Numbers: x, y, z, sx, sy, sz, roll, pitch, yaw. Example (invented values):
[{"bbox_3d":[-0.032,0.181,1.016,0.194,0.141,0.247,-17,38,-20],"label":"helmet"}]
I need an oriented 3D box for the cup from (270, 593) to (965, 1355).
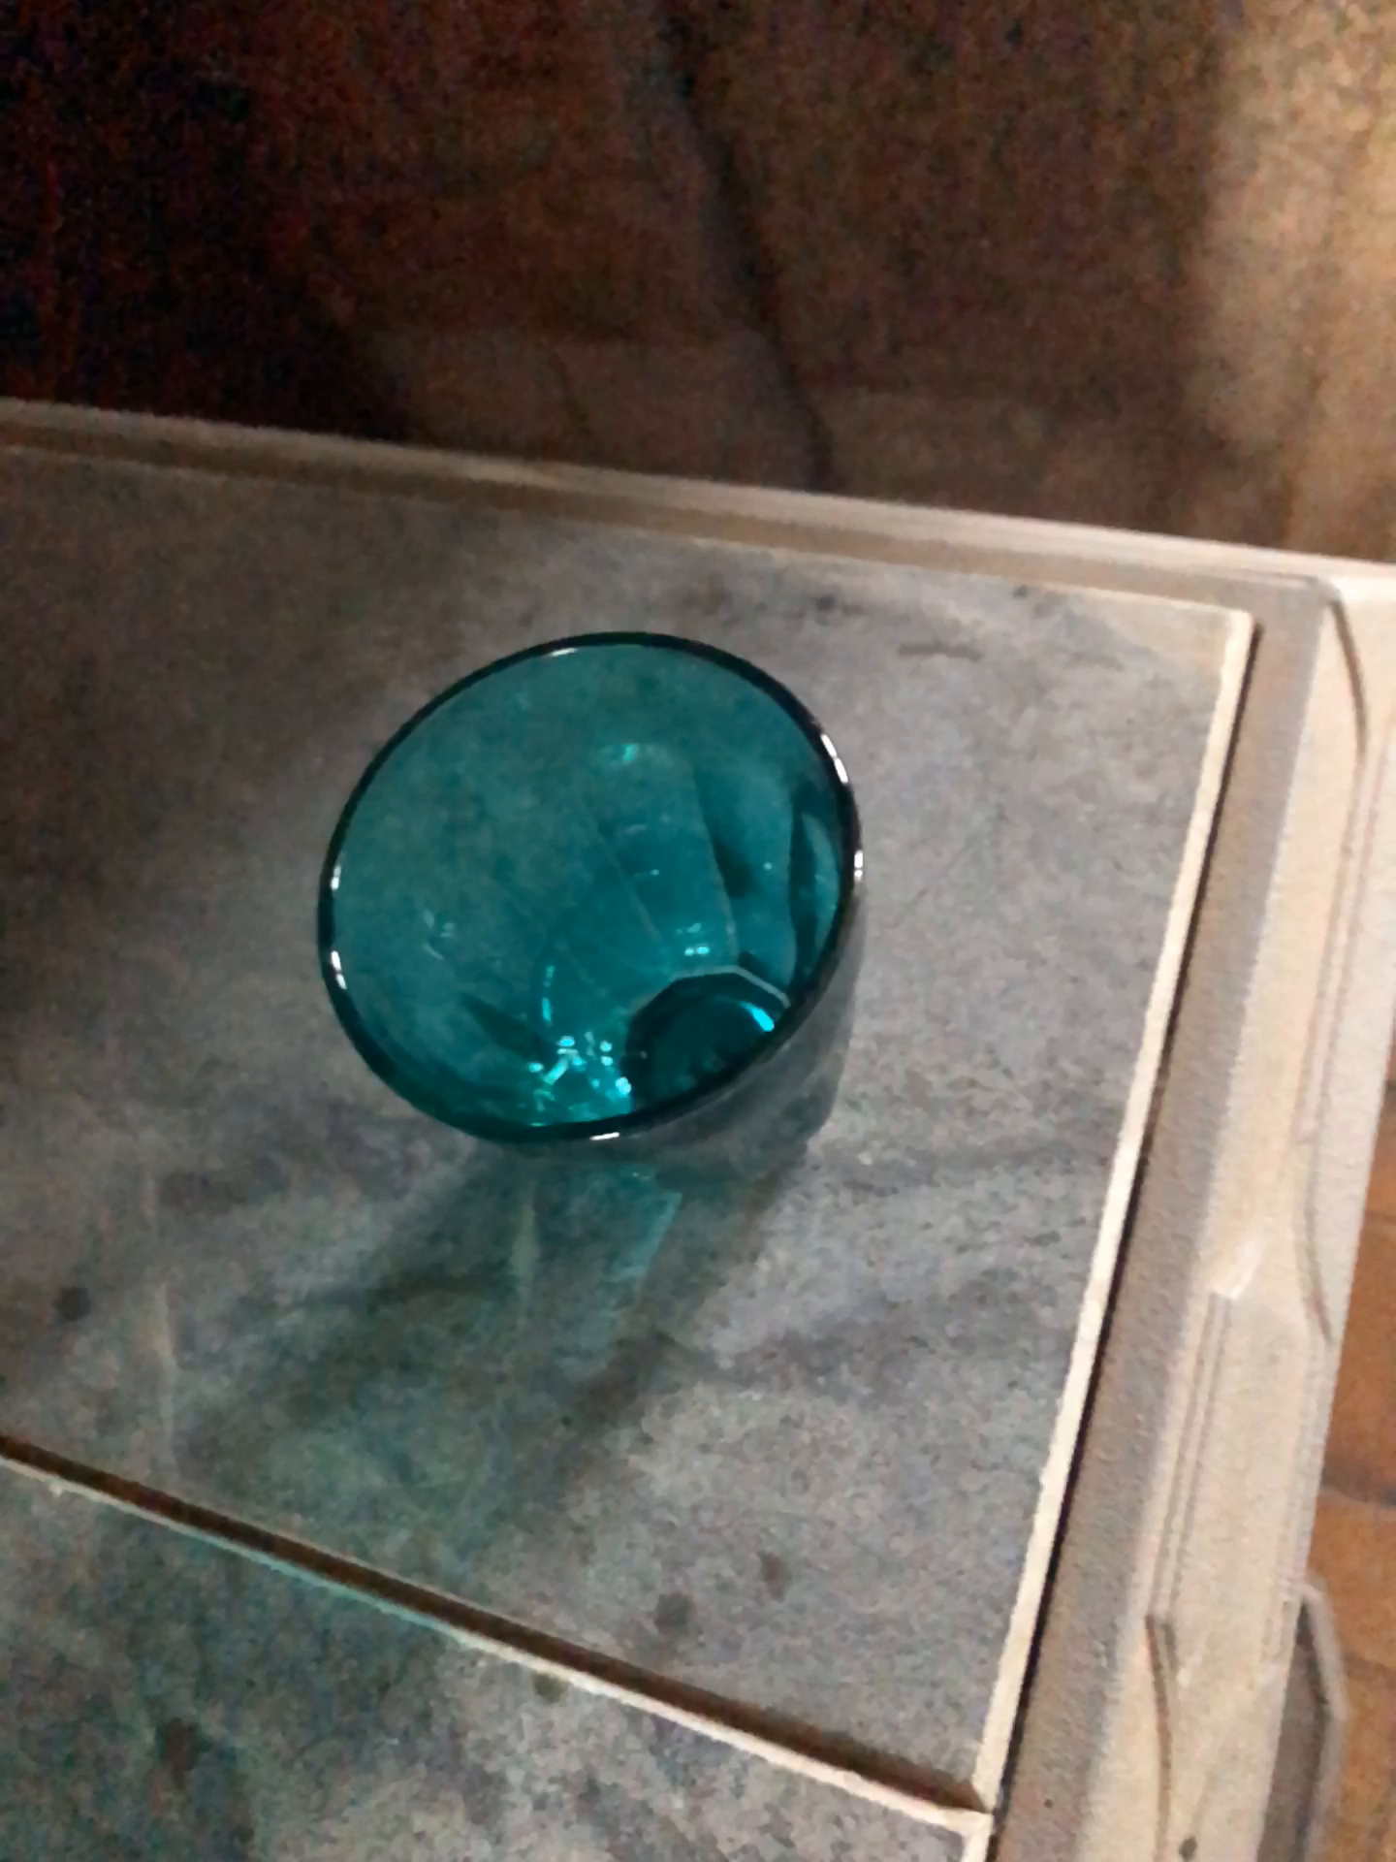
[{"bbox_3d":[-0.008,0.012,0.228,0.070,0.080,0.070,-5,66,11],"label":"cup"}]
